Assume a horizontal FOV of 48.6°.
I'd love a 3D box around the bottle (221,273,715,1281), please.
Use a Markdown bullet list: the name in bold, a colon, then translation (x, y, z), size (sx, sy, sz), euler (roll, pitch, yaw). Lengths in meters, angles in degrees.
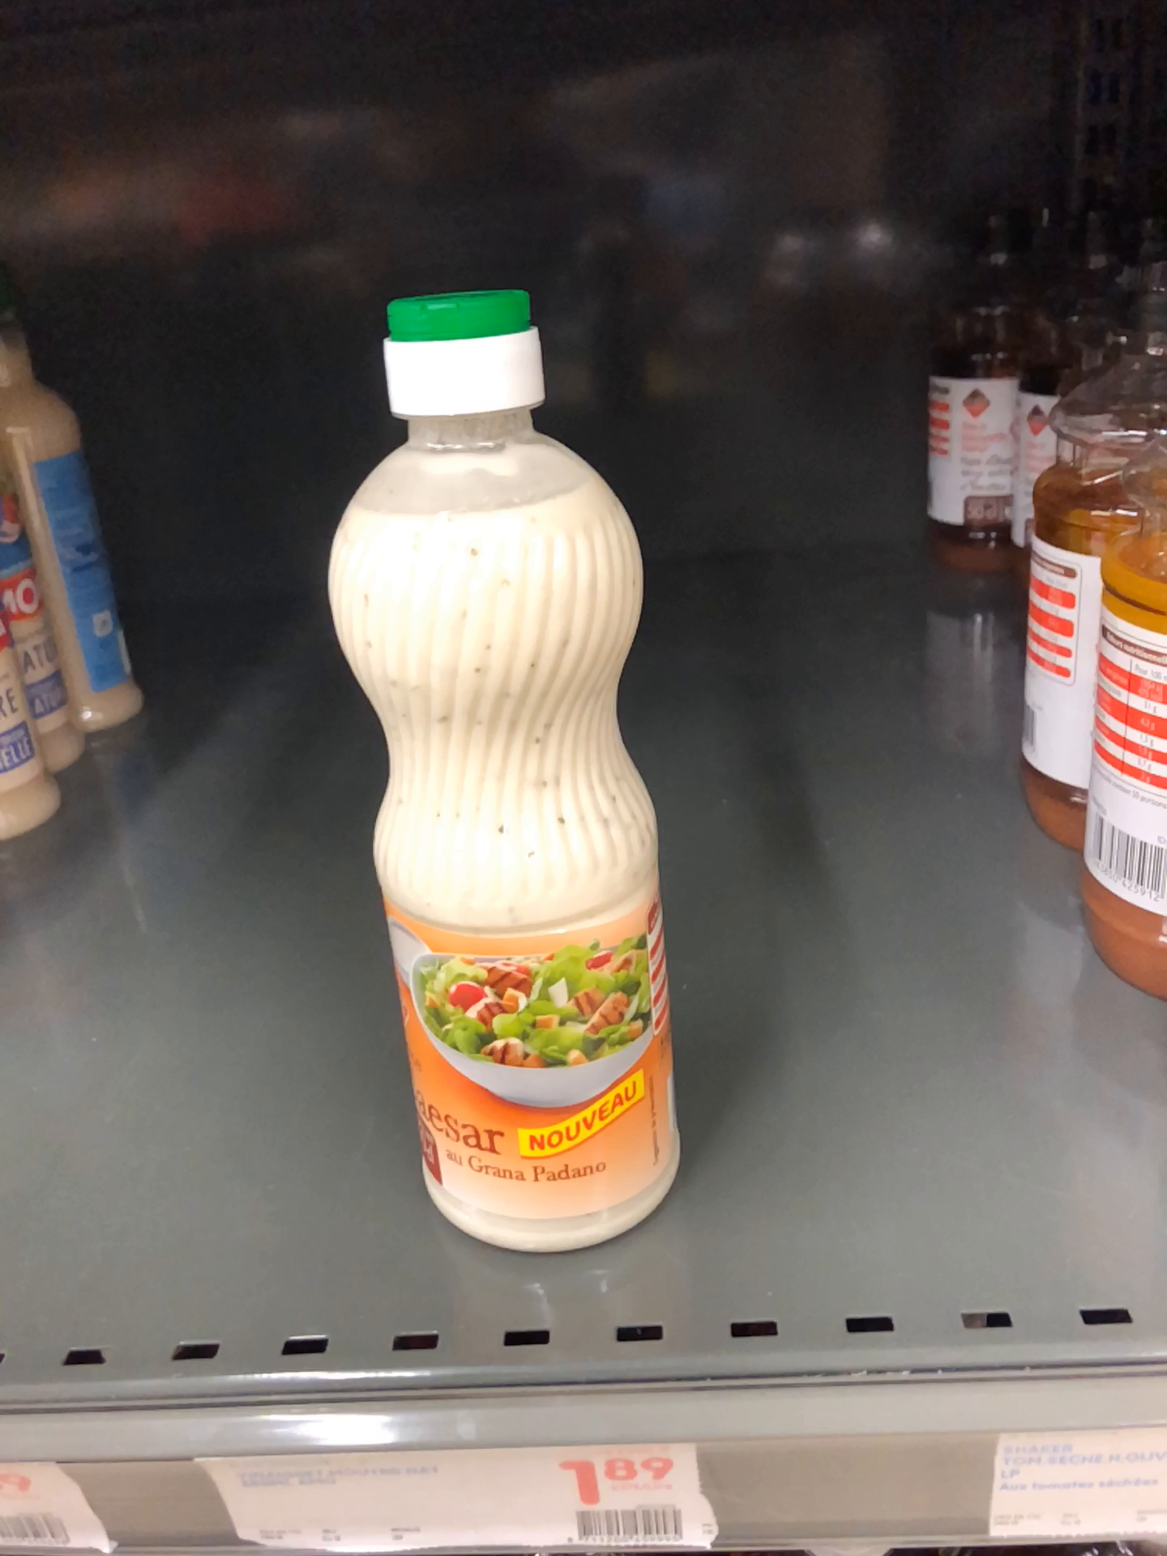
- **bottle**: translation (-0.015, 0.004, 0.317), size (0.080, 0.229, 0.080), euler (-5, 23, 2)
